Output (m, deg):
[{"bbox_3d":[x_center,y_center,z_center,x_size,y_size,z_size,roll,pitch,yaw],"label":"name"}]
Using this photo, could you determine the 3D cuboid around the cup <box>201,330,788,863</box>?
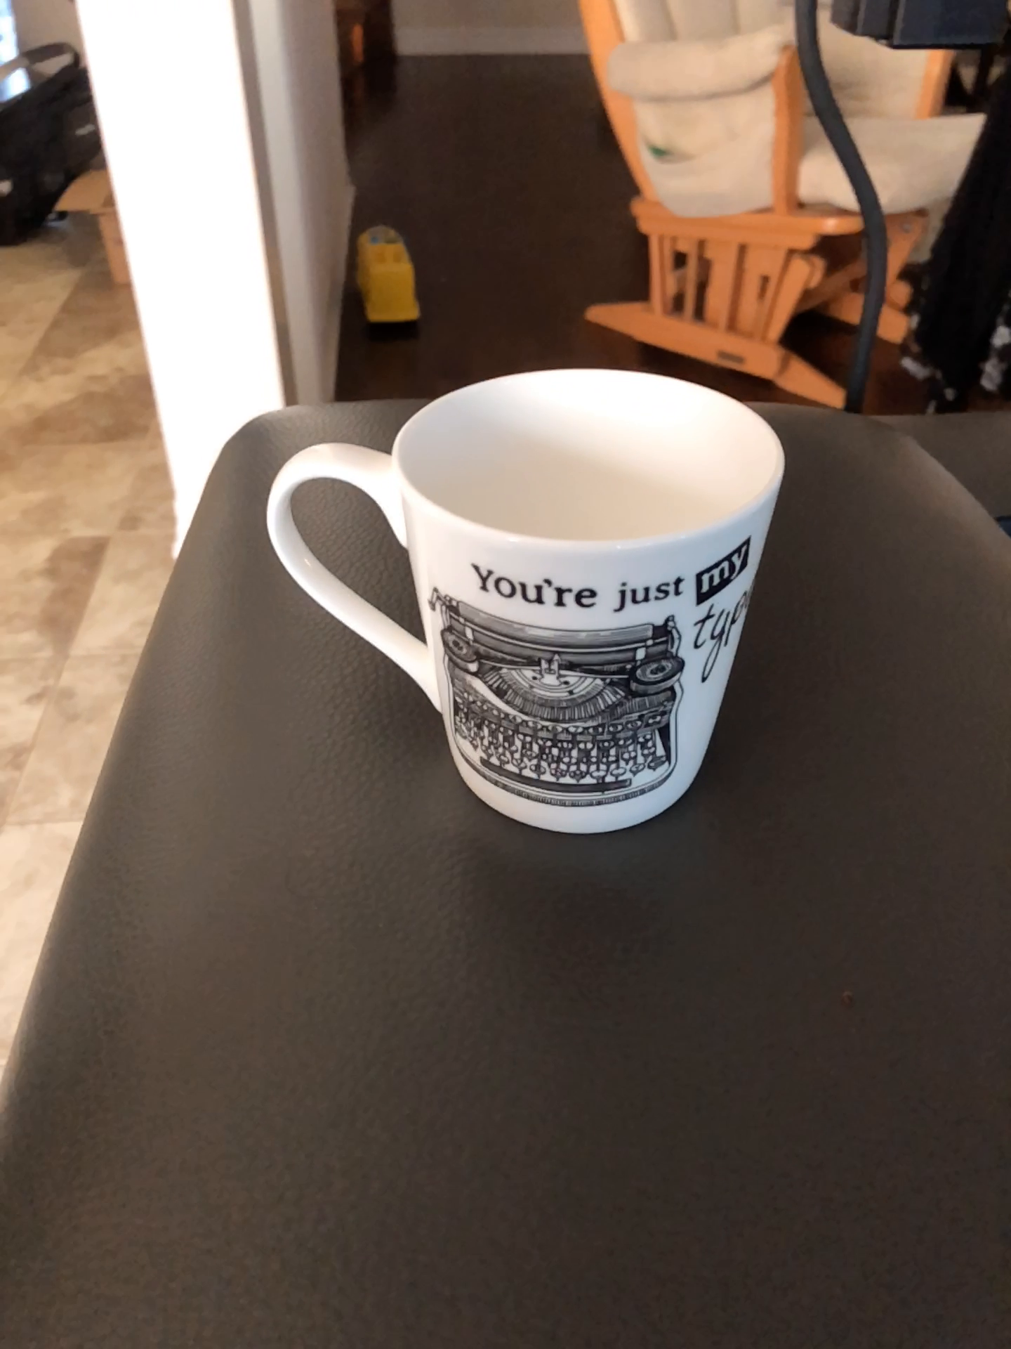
[{"bbox_3d":[0.003,-0.022,0.279,0.117,0.089,0.082,7,38,9],"label":"cup"}]
